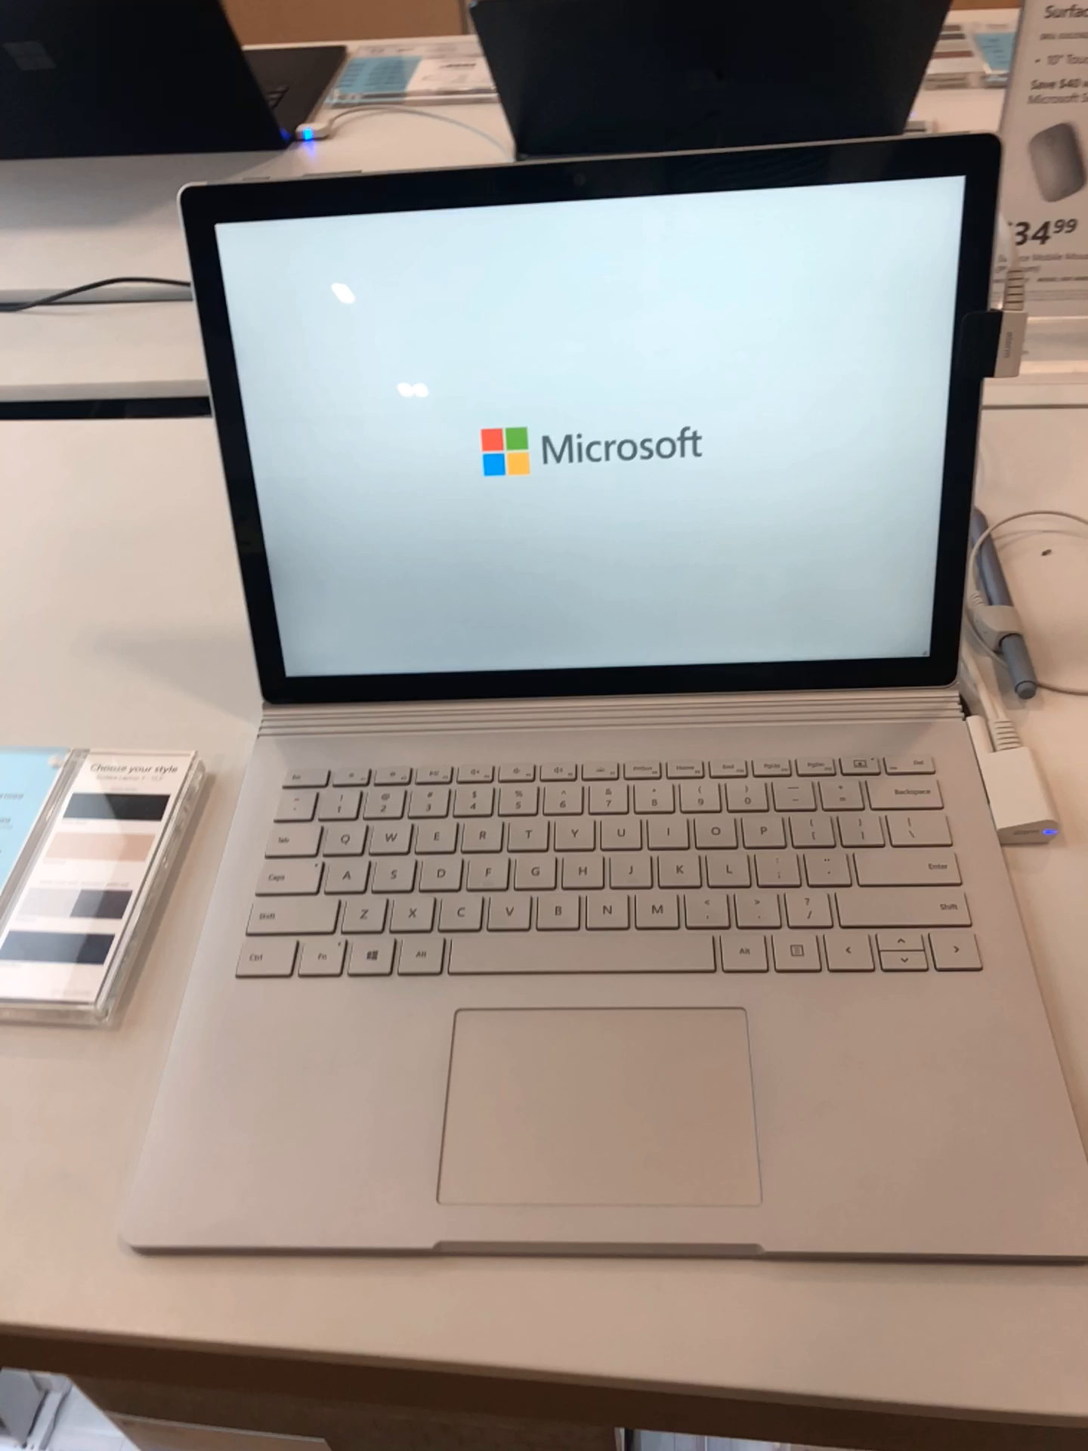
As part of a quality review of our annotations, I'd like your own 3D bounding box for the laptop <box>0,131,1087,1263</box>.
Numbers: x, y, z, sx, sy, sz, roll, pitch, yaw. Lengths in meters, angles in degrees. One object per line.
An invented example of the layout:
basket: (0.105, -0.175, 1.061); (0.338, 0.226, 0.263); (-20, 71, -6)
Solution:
laptop: (0.008, -0.025, 0.396); (0.291, 0.191, 0.312); (-1, 47, 5)
